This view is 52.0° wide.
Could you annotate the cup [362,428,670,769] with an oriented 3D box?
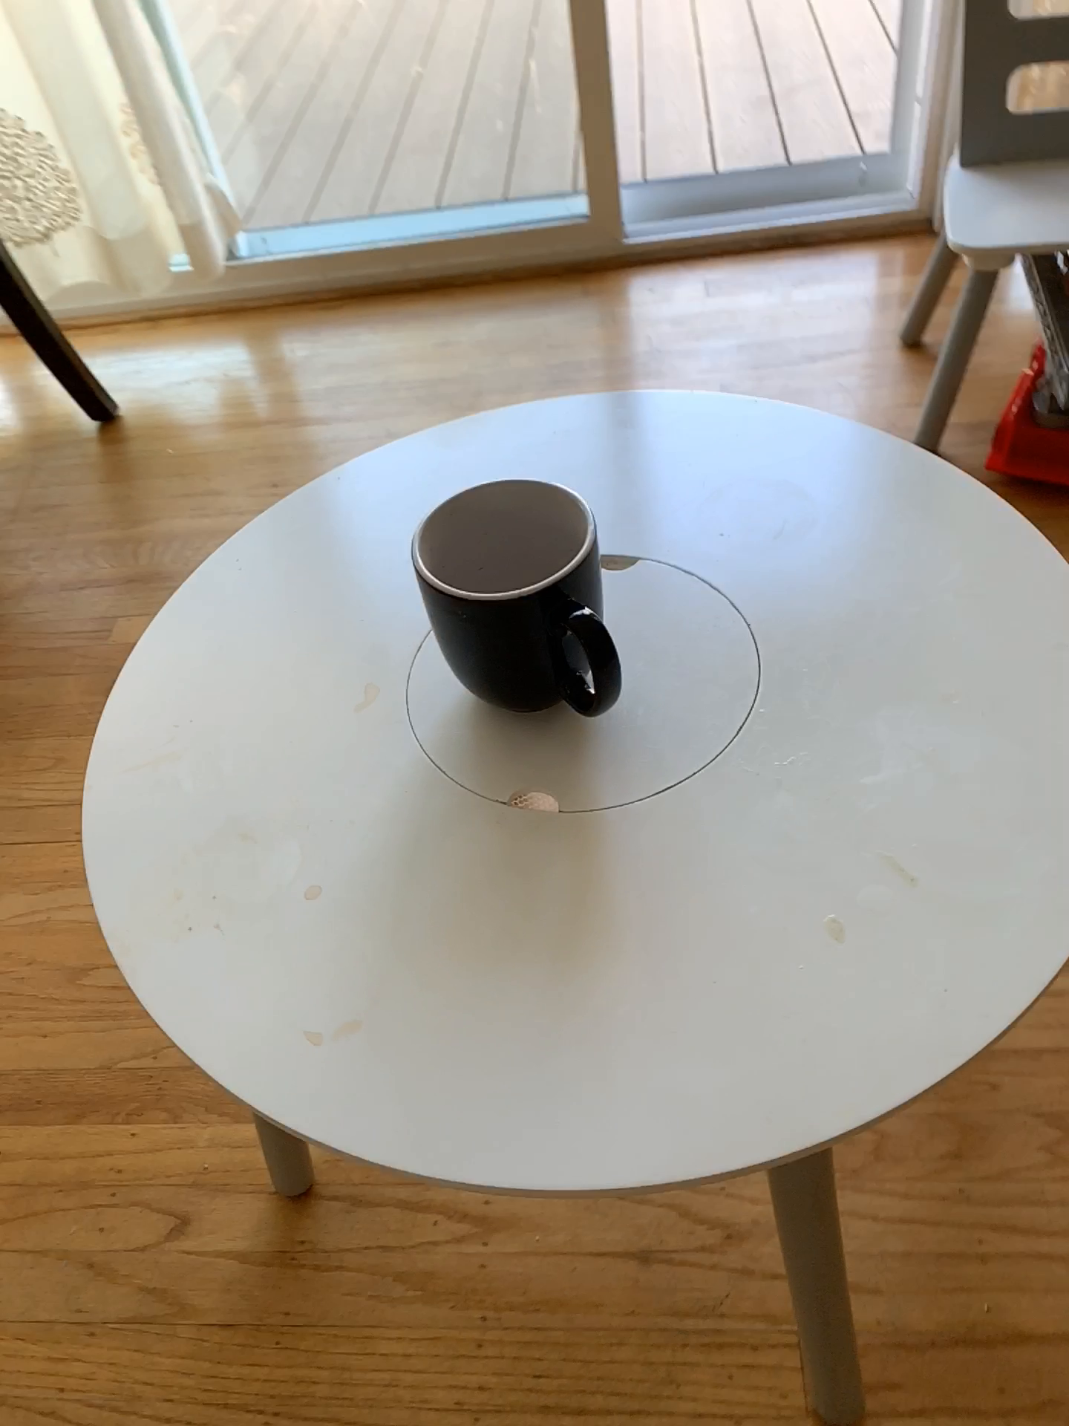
[{"bbox_3d":[-0.010,-0.065,0.590,0.100,0.090,0.141,-27,49,-13],"label":"cup"}]
